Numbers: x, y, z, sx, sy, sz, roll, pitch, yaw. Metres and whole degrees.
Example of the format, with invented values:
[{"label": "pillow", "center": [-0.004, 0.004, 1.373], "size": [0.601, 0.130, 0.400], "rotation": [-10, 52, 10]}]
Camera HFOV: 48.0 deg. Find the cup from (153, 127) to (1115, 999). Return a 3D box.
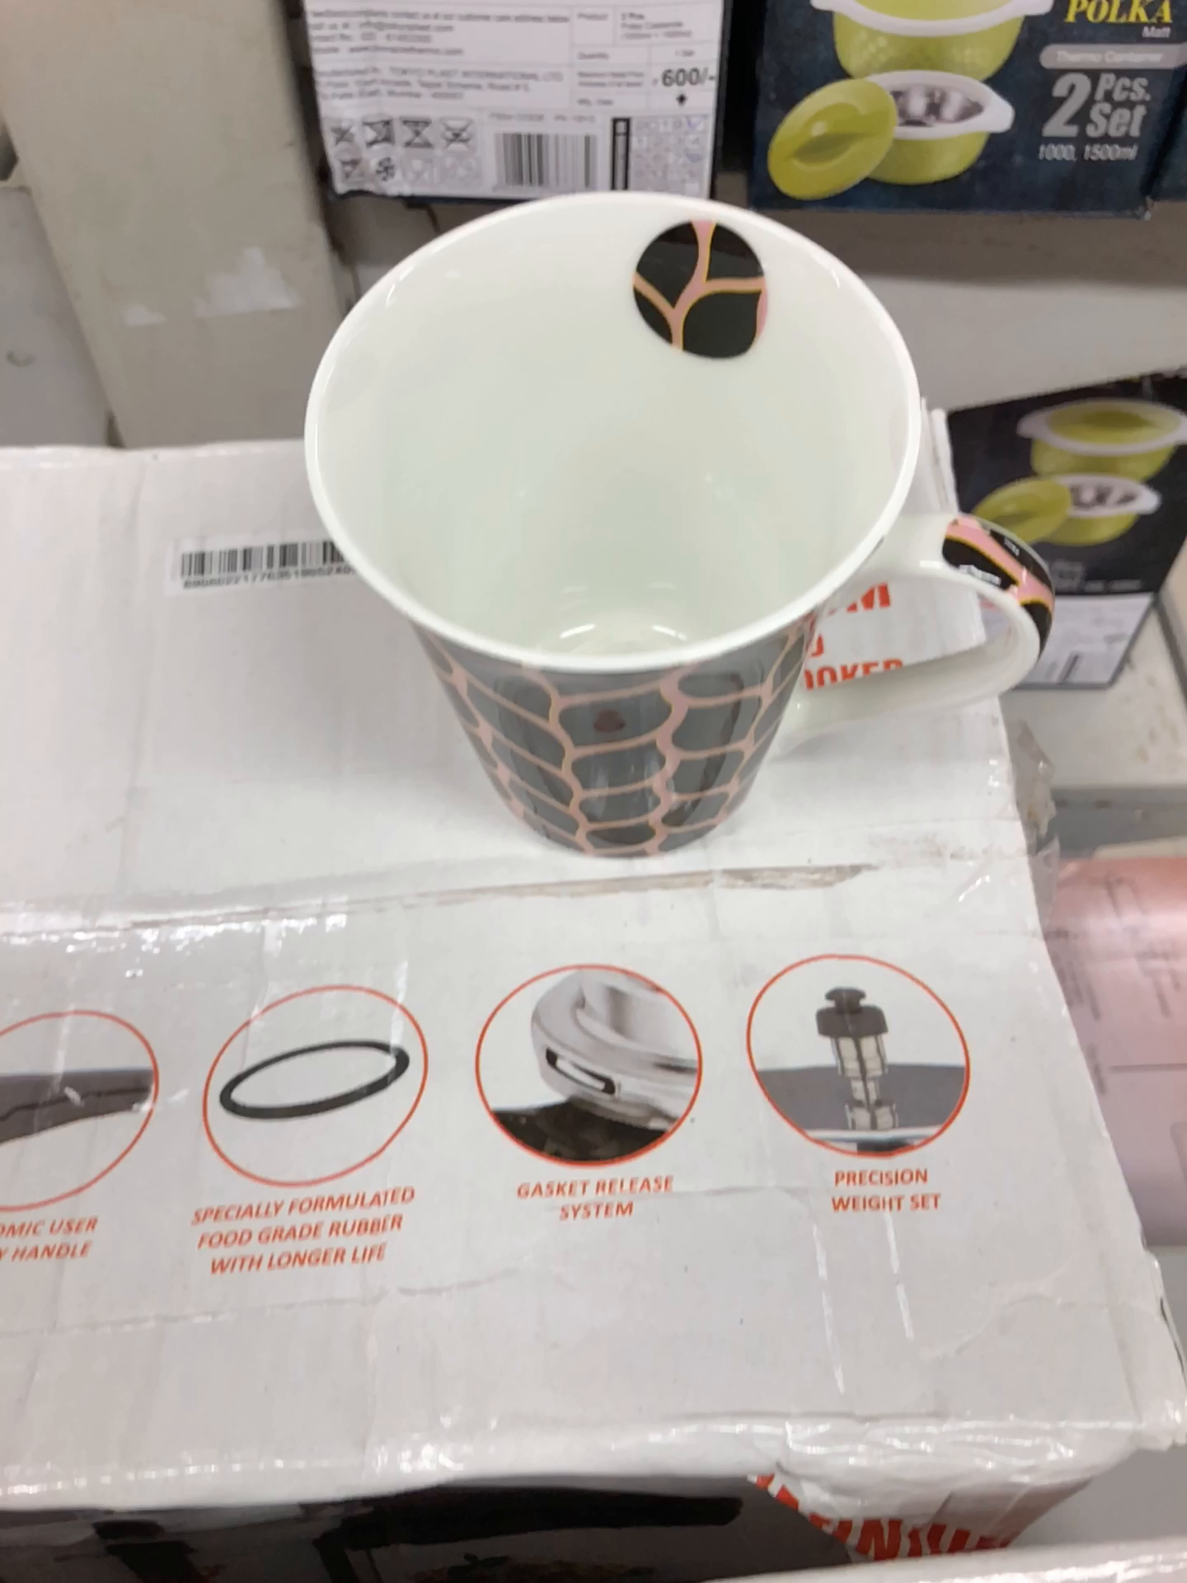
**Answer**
[{"label": "cup", "center": [0.012, -0.034, 0.208], "size": [0.110, 0.080, 0.091], "rotation": [10, 61, 8]}]
